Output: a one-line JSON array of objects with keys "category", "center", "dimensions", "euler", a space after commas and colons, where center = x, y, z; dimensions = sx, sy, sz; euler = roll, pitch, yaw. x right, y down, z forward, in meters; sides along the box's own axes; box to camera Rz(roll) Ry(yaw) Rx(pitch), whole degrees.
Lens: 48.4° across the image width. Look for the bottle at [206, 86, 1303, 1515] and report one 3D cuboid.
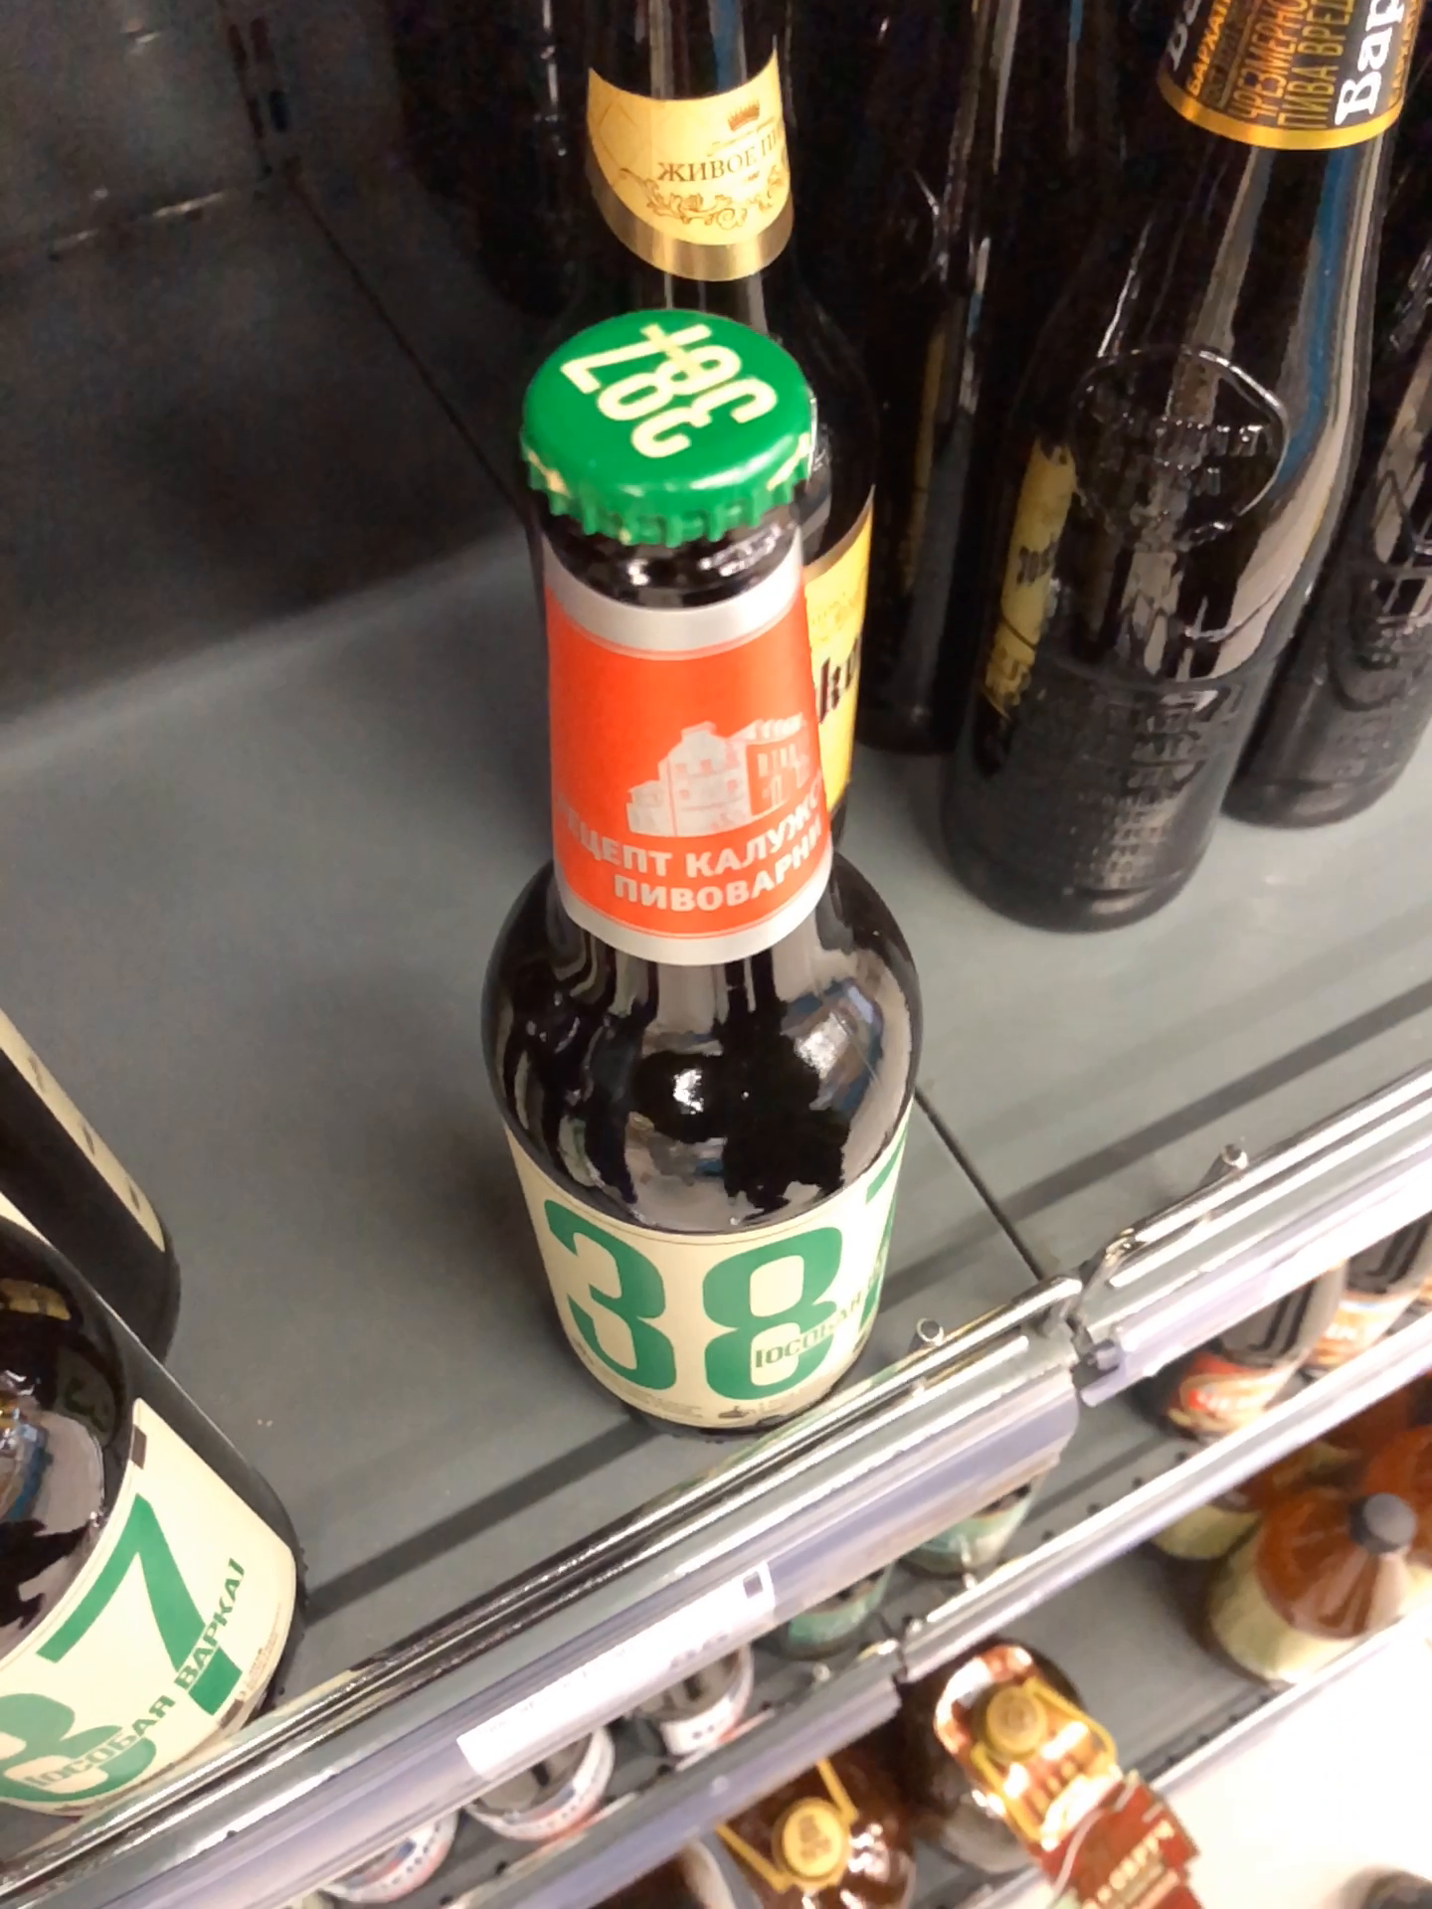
[{"category": "bottle", "center": [0.001, 0.009, 0.240], "dimensions": [0.080, 0.229, 0.070], "euler": [-17, 59, -10]}]
